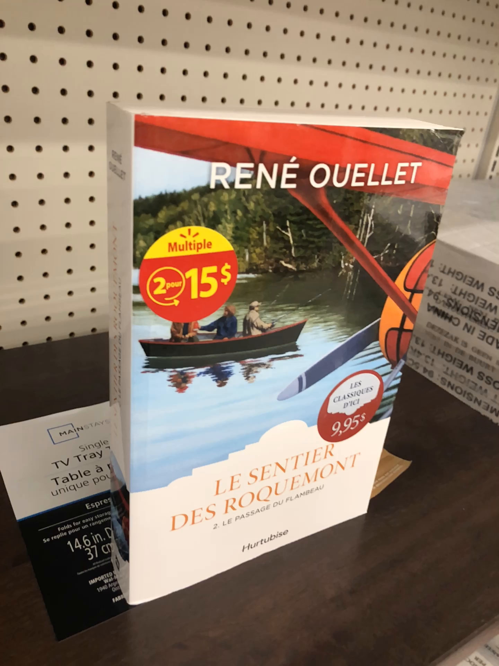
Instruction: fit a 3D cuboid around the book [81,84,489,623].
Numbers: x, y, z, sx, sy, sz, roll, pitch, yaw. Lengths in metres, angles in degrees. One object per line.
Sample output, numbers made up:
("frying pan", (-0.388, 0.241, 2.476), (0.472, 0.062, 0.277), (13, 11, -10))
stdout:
("book", (0.008, 0.007, 0.264), (0.153, 0.215, 0.065), (-9, 29, -30))
